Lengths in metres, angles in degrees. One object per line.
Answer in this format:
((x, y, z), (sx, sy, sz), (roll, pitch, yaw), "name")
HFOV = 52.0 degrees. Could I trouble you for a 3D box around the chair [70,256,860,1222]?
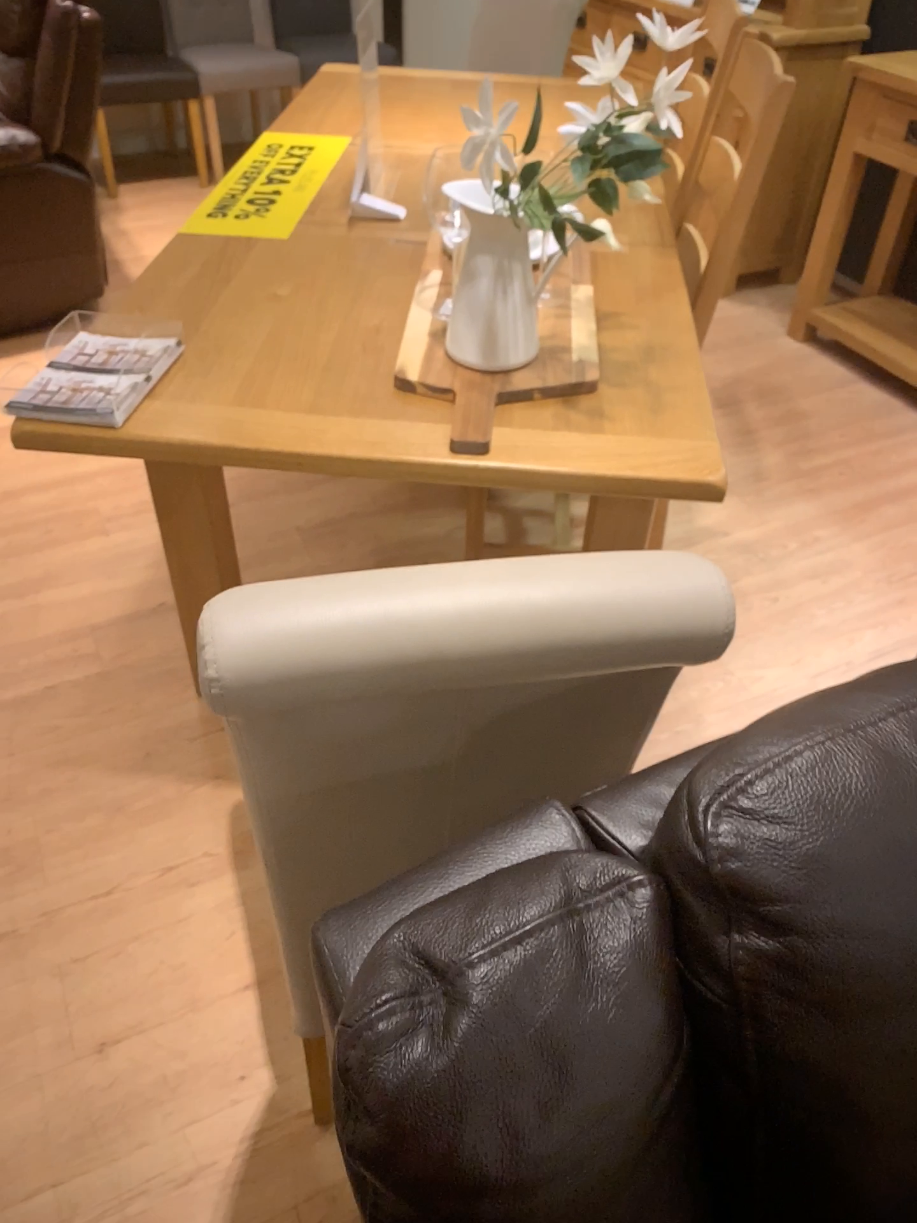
((-0.047, 0.184, 1.104), (0.476, 0.943, 0.640), (-5, 42, -8), "chair")
